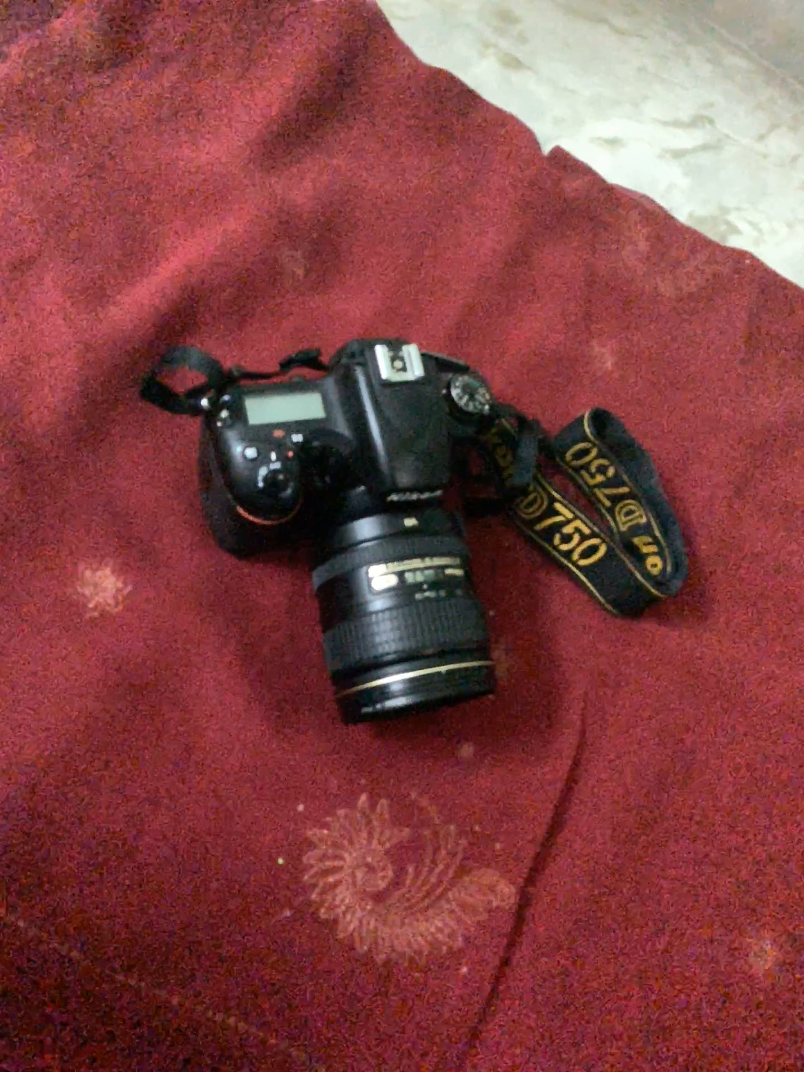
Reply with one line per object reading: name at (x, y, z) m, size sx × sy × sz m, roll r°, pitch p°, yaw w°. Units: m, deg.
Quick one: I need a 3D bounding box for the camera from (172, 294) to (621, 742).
camera at (-0.016, -0.008, 0.370) m, size 0.150 × 0.110 × 0.160 m, roll -7°, pitch 73°, yaw -19°
